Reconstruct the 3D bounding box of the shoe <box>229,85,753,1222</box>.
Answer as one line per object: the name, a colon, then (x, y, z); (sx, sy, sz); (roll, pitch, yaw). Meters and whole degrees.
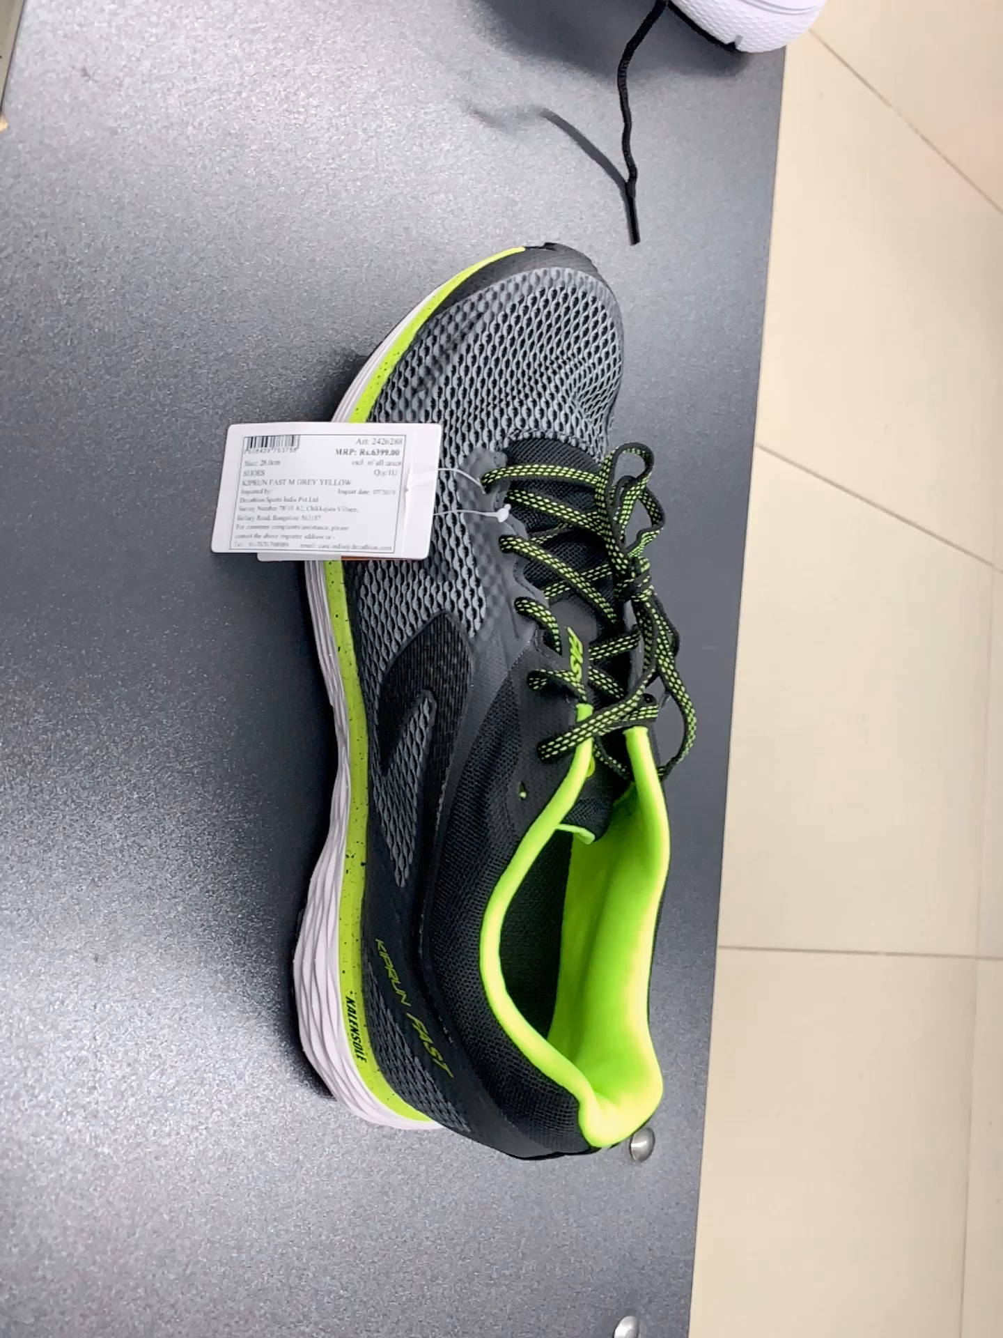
shoe: (-0.001, -0.004, 0.354); (0.111, 0.110, 0.310); (10, 81, -38)
